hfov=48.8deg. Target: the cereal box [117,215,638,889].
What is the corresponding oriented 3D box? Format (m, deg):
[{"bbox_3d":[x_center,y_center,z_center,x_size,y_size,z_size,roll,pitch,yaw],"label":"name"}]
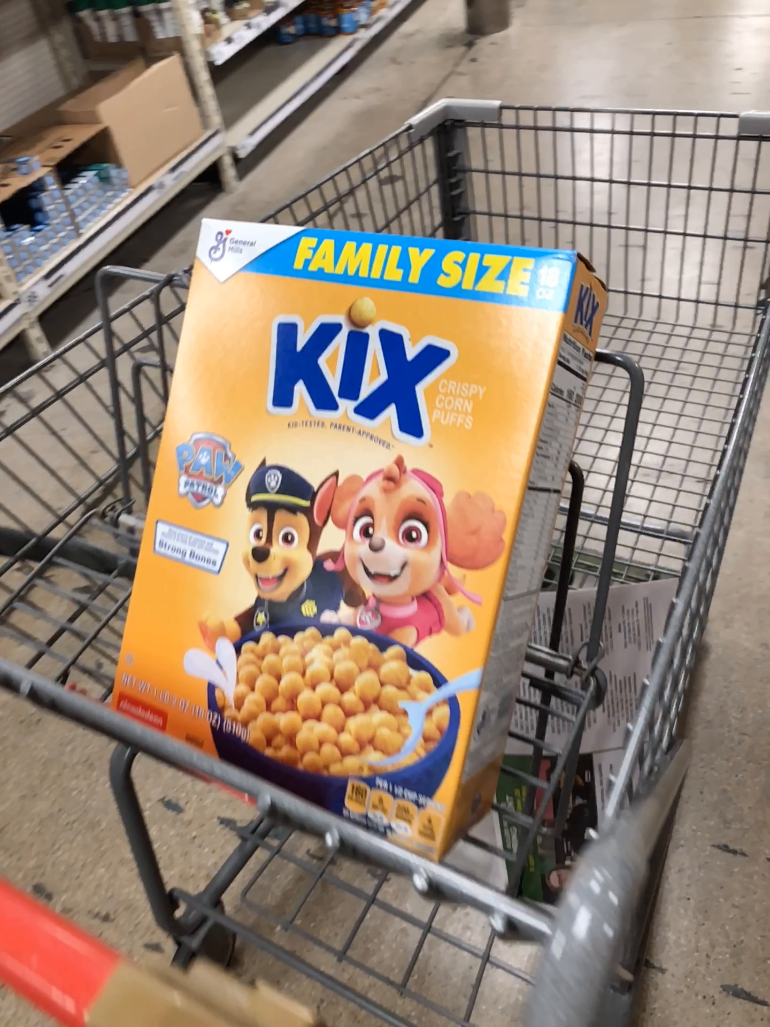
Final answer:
[{"bbox_3d":[-0.019,0.004,0.522,0.251,0.330,0.090,16,8,31],"label":"cereal box"}]
